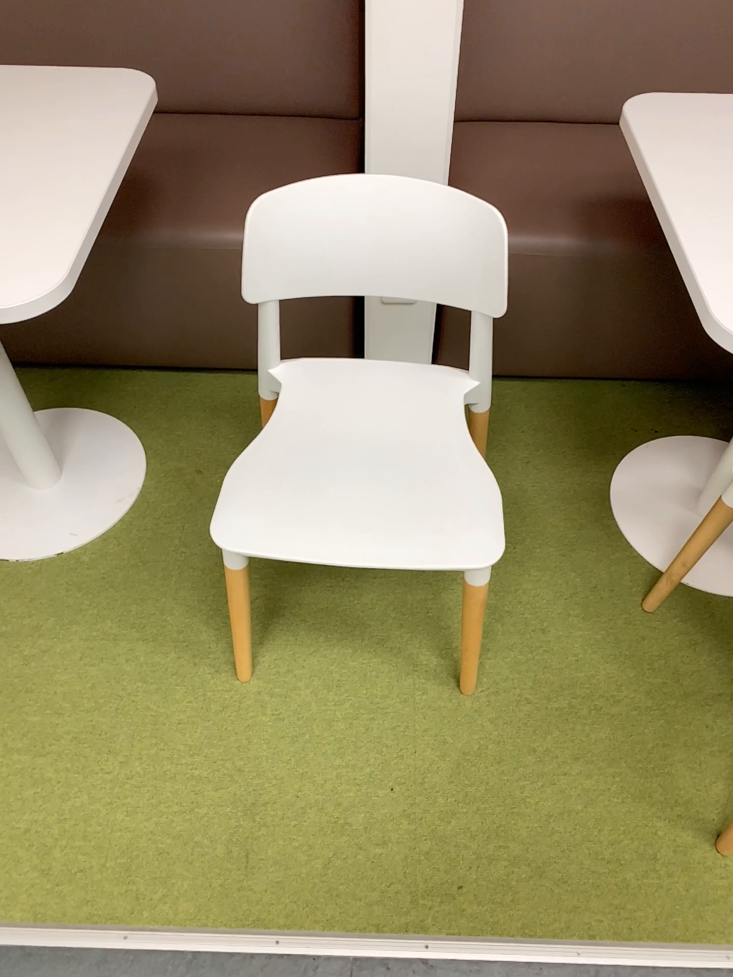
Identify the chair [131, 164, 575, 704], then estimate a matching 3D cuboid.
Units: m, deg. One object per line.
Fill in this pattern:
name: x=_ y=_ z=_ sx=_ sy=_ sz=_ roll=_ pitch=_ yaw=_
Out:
chair: x=-0.004 y=-0.047 z=1.303 sx=0.500 sy=0.787 sz=0.502 roll=4 pitch=50 yaw=2
